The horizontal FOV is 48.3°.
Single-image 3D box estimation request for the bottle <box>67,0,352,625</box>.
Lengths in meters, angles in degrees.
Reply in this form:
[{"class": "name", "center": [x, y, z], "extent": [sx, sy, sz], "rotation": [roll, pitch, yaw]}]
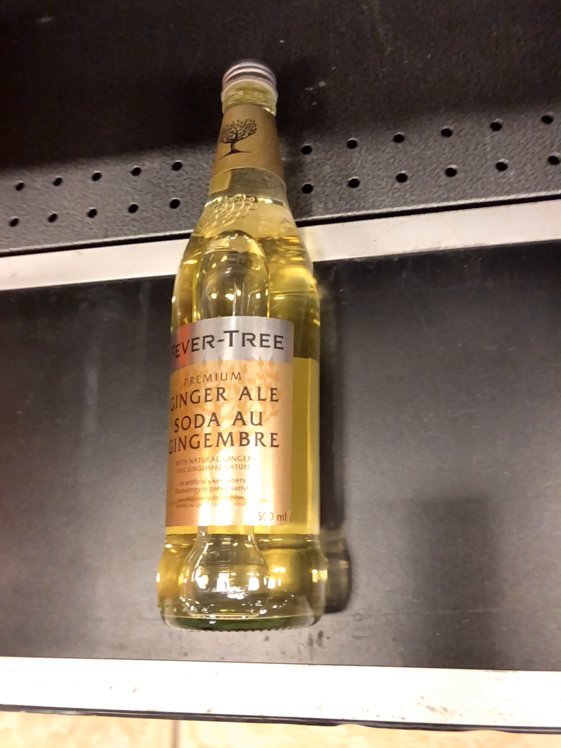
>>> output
[{"class": "bottle", "center": [-0.023, -0.037, 0.290], "extent": [0.090, 0.090, 0.280], "rotation": [-4, 72, 10]}]
